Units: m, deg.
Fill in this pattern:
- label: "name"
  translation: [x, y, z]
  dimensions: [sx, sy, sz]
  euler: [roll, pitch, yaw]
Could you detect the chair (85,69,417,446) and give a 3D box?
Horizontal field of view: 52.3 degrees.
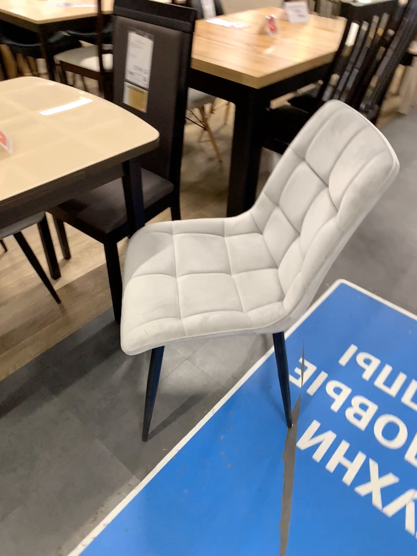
- label: "chair"
  translation: [0.055, -0.006, 1.230]
  dimensions: [0.600, 0.975, 0.483]
  euler: [-3, 42, -6]
